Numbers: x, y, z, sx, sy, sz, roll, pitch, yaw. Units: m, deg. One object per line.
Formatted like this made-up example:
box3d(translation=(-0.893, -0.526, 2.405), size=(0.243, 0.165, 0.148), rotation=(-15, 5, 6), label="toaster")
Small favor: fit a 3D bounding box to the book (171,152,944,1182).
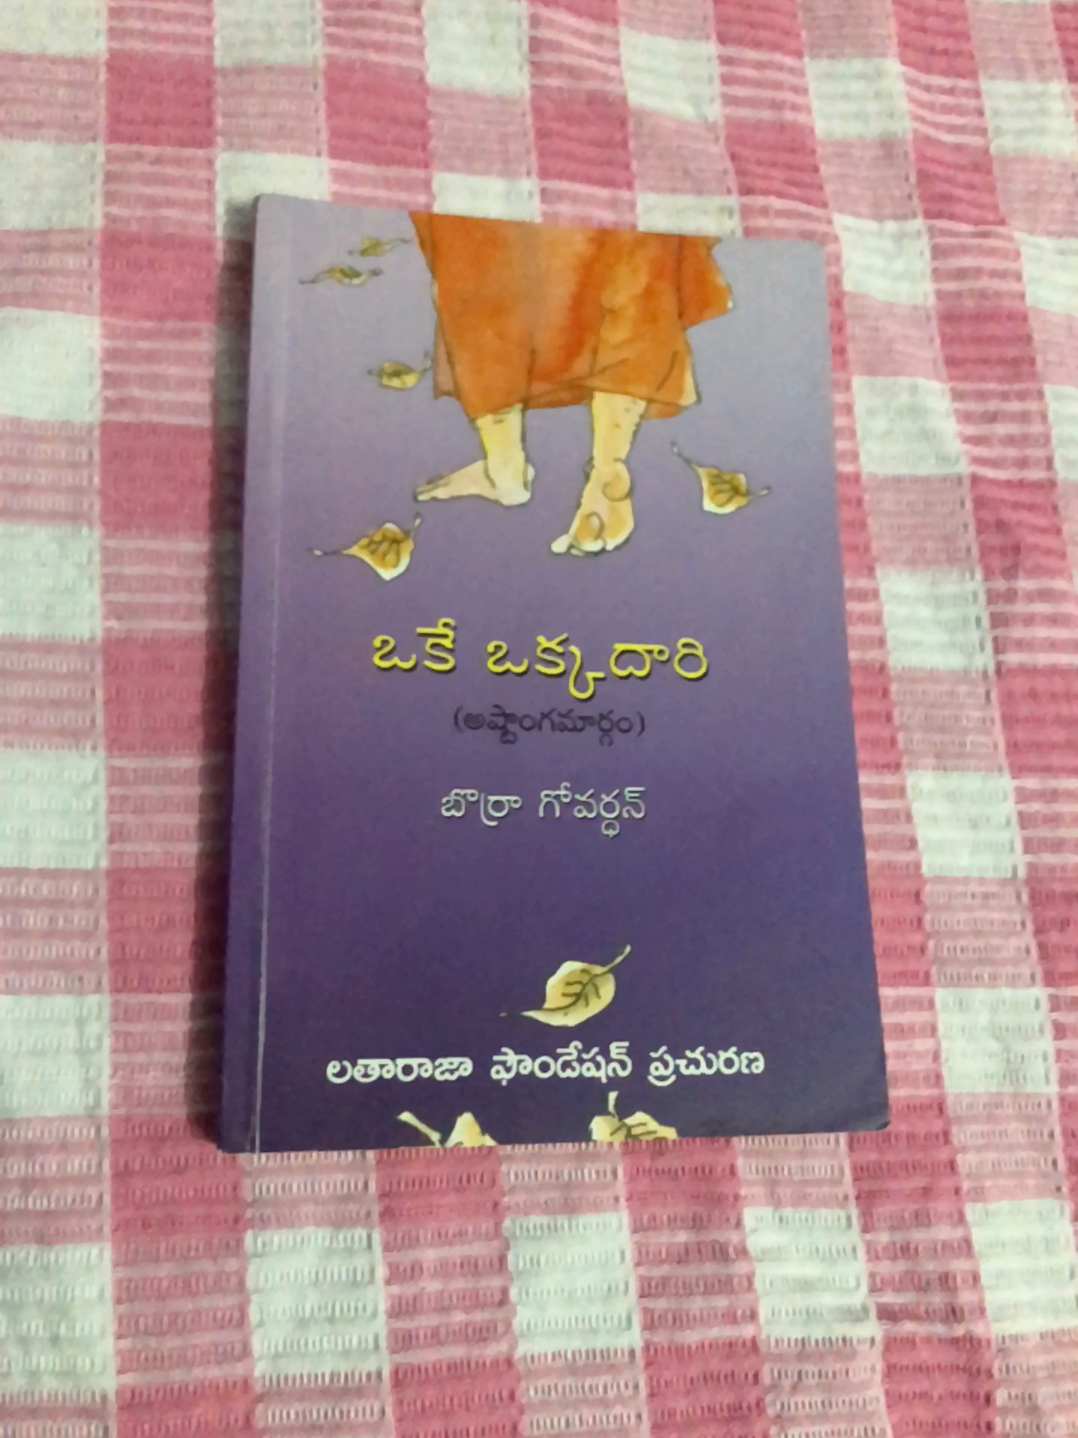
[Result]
box3d(translation=(0.006, -0.015, 0.261), size=(0.150, 0.020, 0.210), rotation=(2, 78, -10), label="book")
